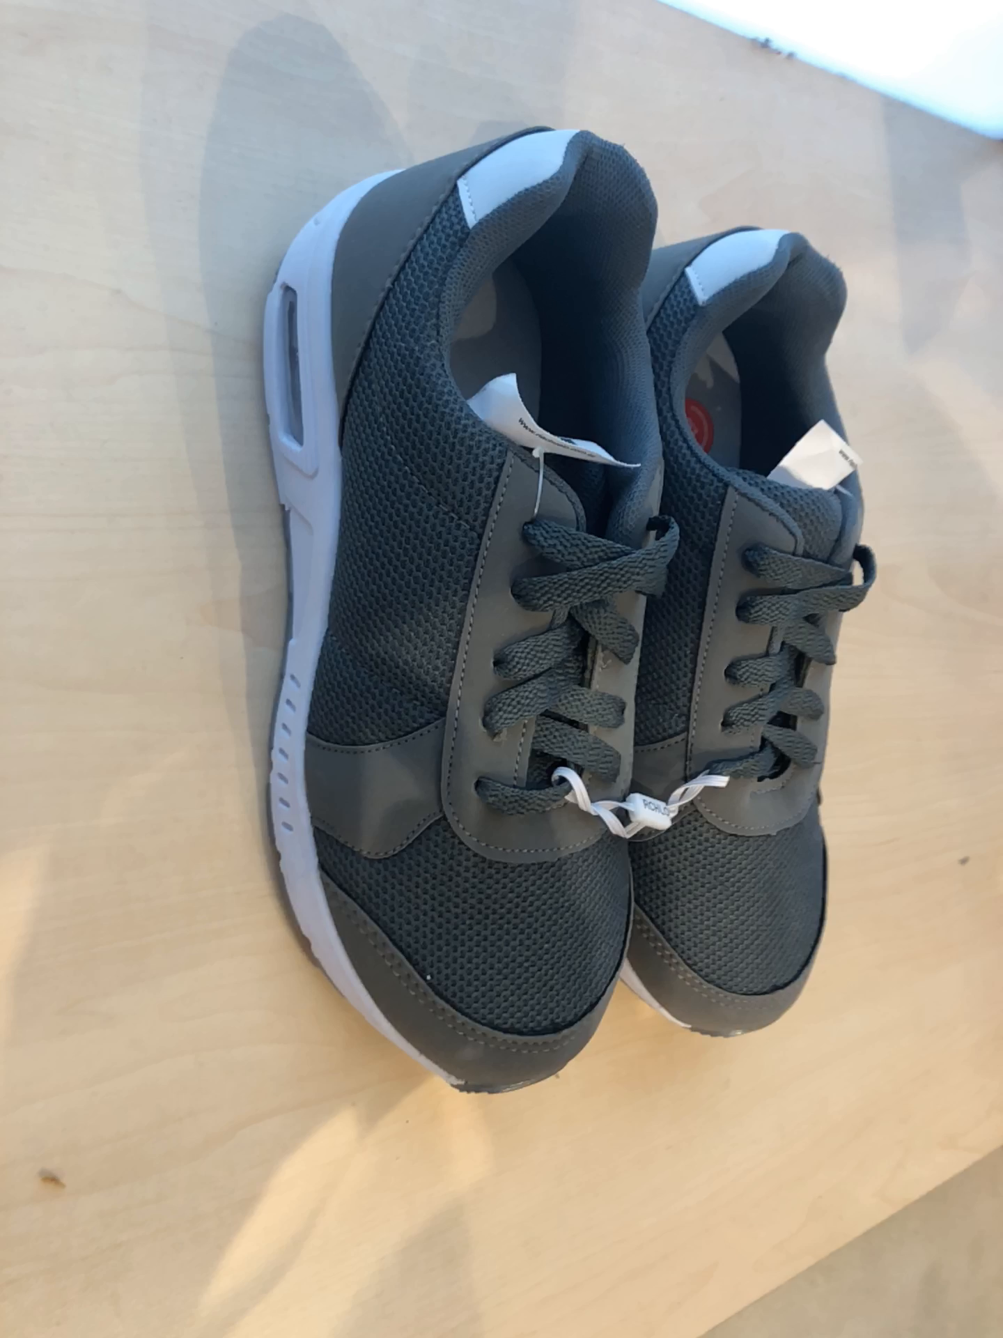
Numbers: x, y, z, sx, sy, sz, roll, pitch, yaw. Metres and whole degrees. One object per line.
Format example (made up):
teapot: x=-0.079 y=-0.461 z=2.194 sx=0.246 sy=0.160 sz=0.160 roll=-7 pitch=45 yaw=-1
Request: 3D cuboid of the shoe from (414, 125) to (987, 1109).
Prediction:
shoe: x=0.059 y=-0.014 z=0.340 sx=0.101 sy=0.099 sz=0.240 roll=-9 pitch=91 yaw=-37

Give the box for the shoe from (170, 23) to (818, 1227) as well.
shoe: x=-0.005 y=-0.009 z=0.282 sx=0.101 sy=0.099 sz=0.230 roll=-6 pitch=89 yaw=-37
